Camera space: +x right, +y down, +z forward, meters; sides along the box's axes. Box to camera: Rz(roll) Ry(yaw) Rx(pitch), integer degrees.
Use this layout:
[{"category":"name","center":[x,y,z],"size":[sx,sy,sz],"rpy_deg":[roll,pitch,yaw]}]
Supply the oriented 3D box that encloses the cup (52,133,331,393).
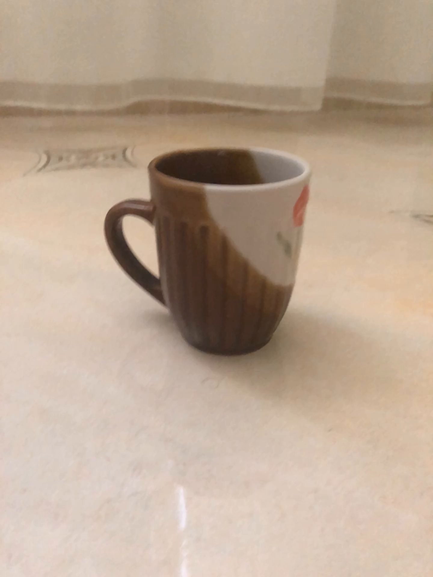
[{"category":"cup","center":[-0.011,-0.021,0.240],"size":[0.104,0.086,0.076],"rpy_deg":[18,32,28]}]
